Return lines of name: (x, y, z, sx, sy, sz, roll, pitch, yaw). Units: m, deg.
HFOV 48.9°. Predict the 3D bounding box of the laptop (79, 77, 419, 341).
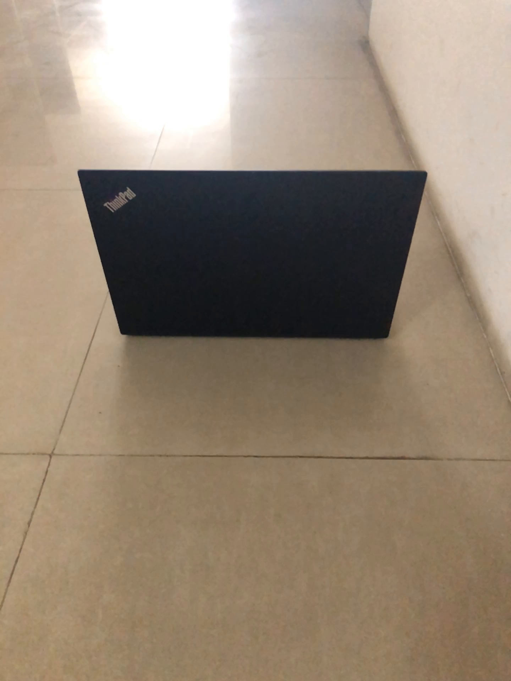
laptop: (-0.001, -0.180, 0.758, 0.353, 0.240, 0.256, 1, 44, 1)
